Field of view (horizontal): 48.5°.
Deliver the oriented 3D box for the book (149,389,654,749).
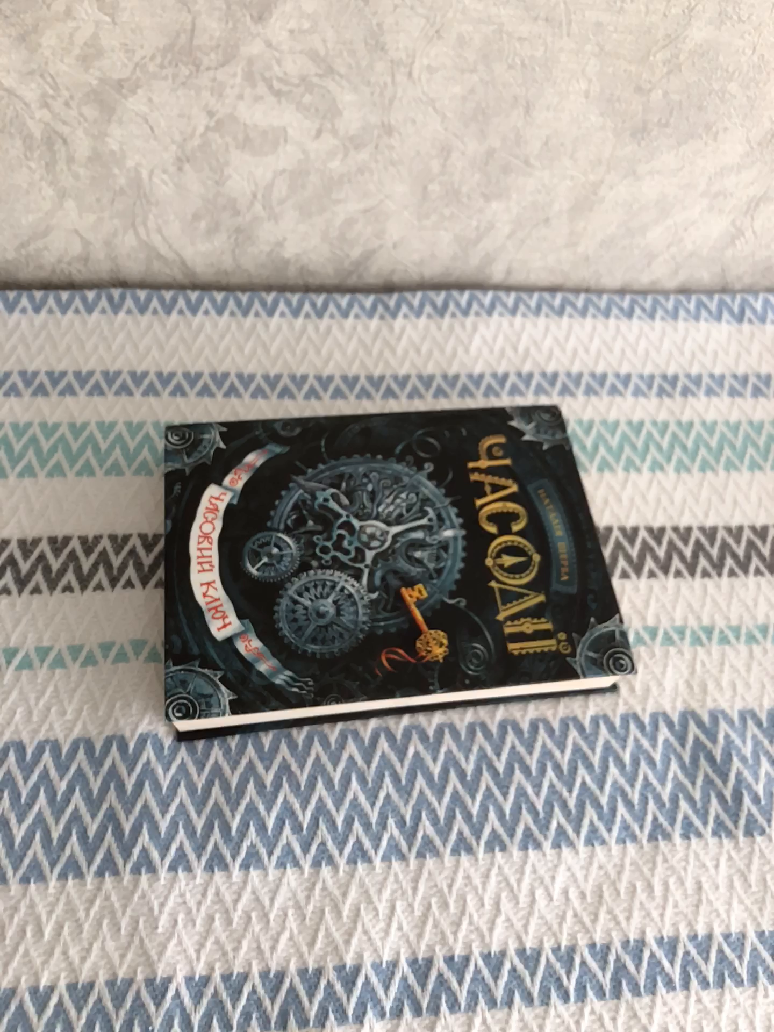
[{"bbox_3d":[-0.001,0.018,0.456,0.238,0.032,0.178,-4,59,-9],"label":"book"}]
